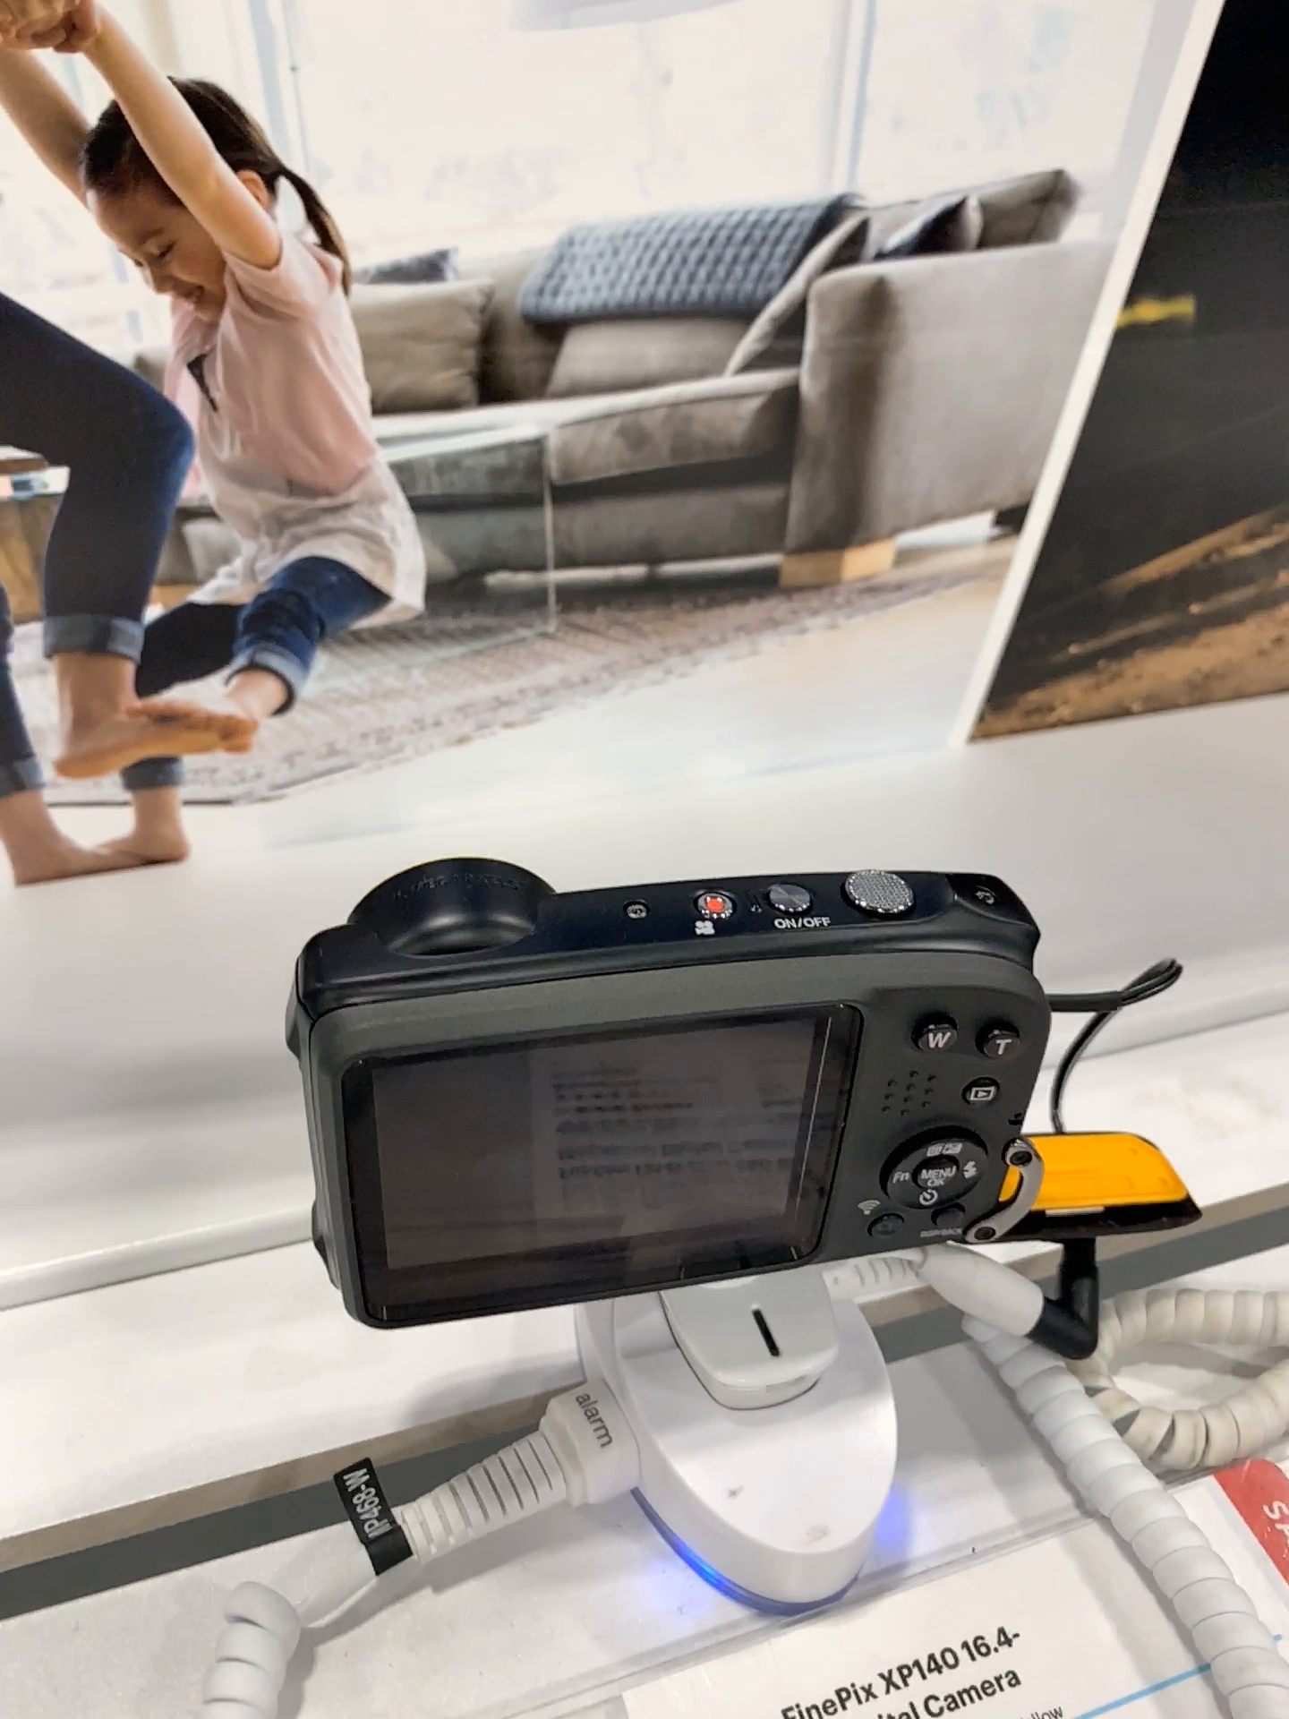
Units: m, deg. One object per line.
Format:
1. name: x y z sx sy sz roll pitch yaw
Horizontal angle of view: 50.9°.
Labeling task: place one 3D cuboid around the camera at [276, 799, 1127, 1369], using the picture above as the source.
1. camera: 0.005 0.030 0.201 0.110 0.060 0.040 -4 36 -17
